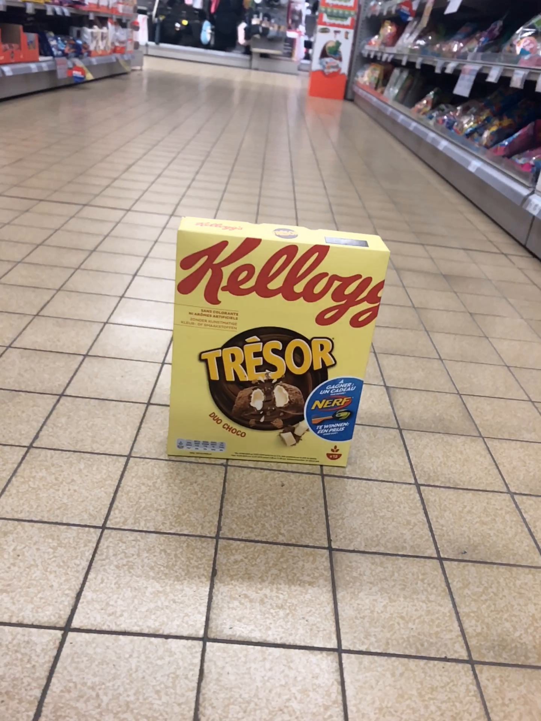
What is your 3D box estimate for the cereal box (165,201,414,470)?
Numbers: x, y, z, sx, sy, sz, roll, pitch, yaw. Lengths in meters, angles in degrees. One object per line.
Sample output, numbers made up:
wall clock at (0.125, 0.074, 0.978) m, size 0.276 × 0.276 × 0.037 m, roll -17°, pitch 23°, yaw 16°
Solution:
cereal box at (0.007, -0.016, 0.575) m, size 0.200 × 0.239 × 0.060 m, roll 5°, pitch 27°, yaw -4°
